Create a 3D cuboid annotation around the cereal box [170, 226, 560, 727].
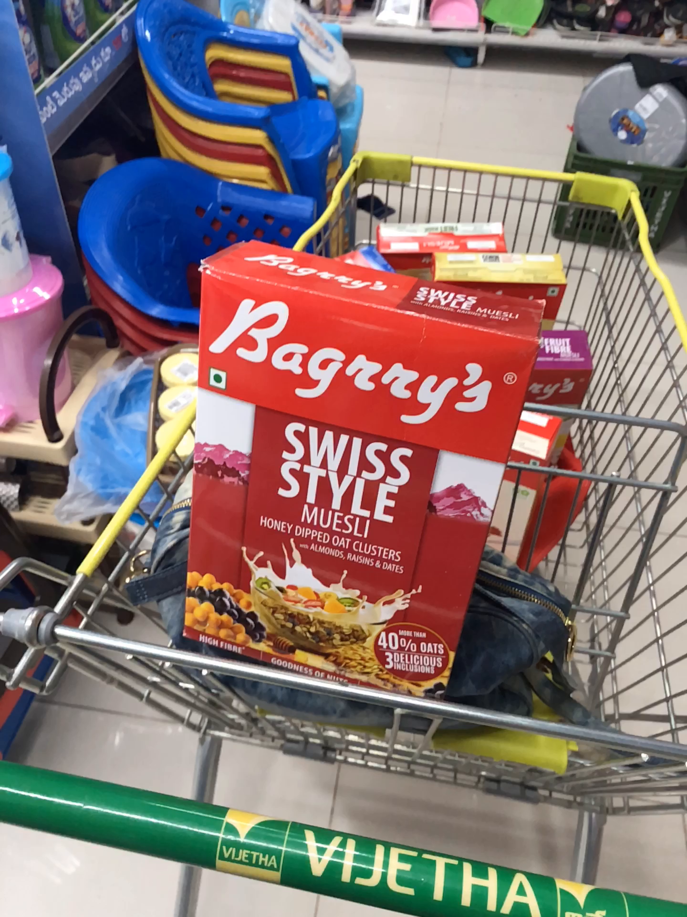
[{"bbox_3d":[0.001,0.013,0.462,0.190,0.259,0.070,14,27,12],"label":"cereal box"}]
